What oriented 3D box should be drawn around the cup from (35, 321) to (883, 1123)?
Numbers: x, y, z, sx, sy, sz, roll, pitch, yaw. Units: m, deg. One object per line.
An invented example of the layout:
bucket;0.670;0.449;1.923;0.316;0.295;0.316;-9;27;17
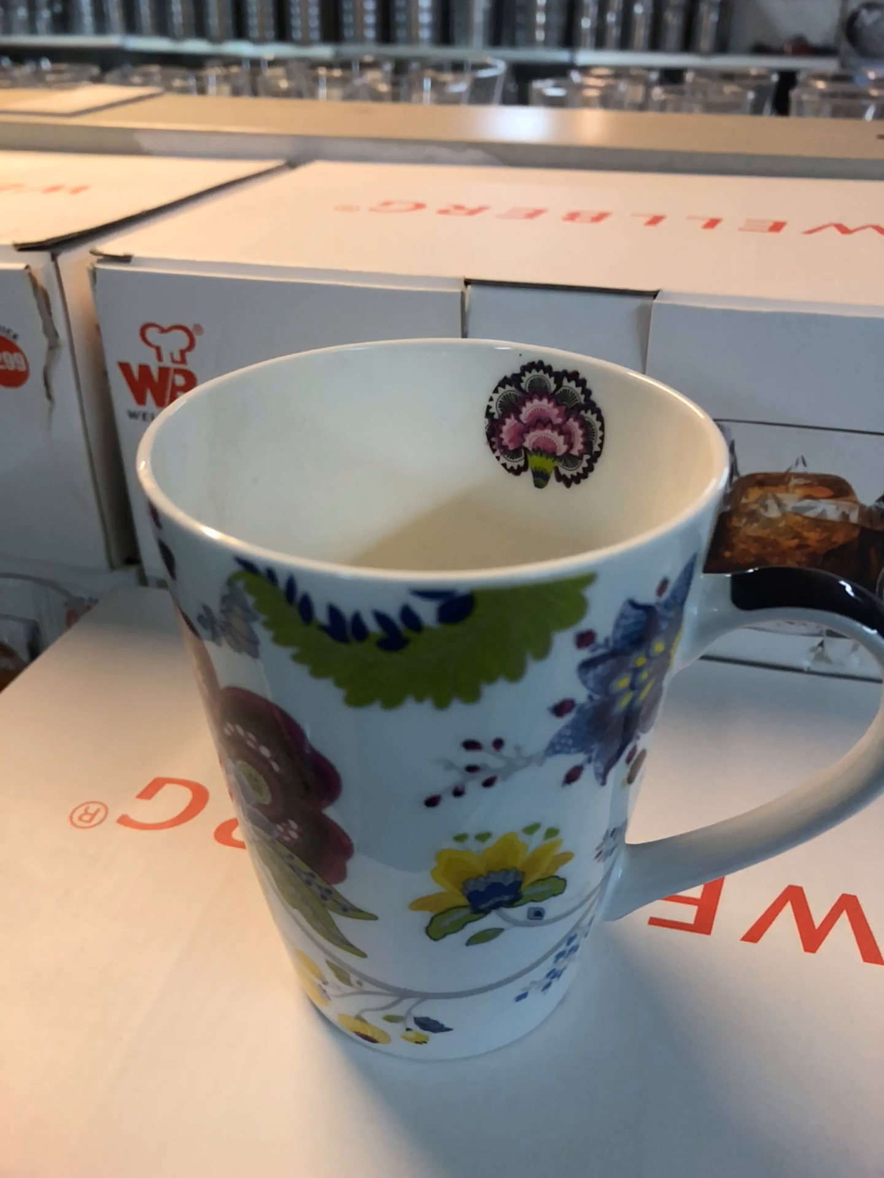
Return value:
cup;0.017;0.018;0.167;0.120;0.099;0.081;2;31;3
